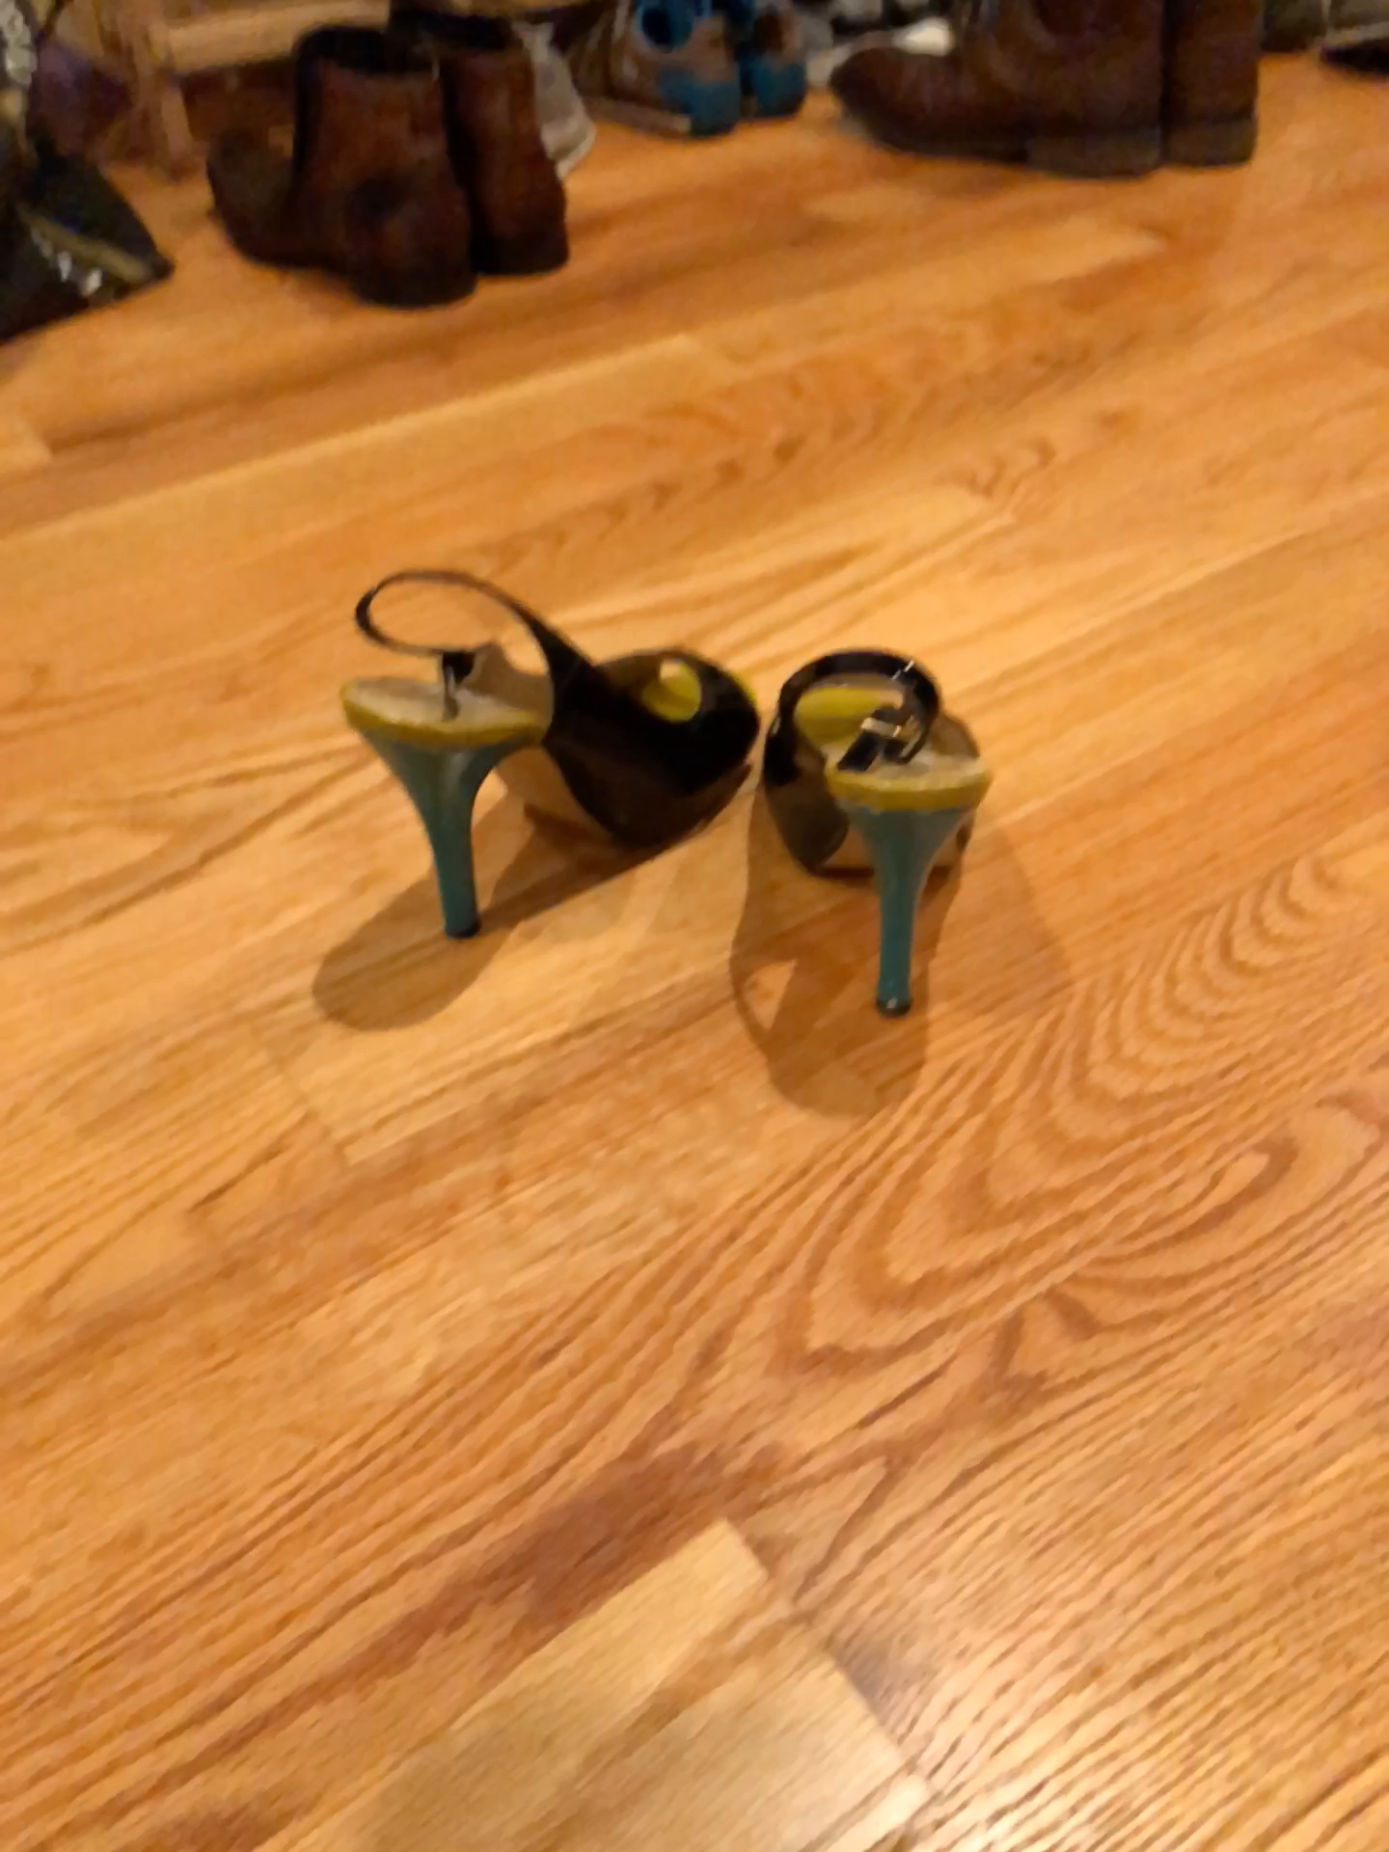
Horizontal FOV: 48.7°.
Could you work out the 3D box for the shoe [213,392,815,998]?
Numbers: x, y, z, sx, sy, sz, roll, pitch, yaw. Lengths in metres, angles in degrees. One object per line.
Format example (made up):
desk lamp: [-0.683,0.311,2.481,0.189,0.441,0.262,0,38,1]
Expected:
shoe: [-0.052,-0.092,0.561,0.085,0.121,0.205,28,50,29]

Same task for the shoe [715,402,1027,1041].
shoe: [0.051,-0.079,0.542,0.085,0.131,0.202,-1,42,1]
